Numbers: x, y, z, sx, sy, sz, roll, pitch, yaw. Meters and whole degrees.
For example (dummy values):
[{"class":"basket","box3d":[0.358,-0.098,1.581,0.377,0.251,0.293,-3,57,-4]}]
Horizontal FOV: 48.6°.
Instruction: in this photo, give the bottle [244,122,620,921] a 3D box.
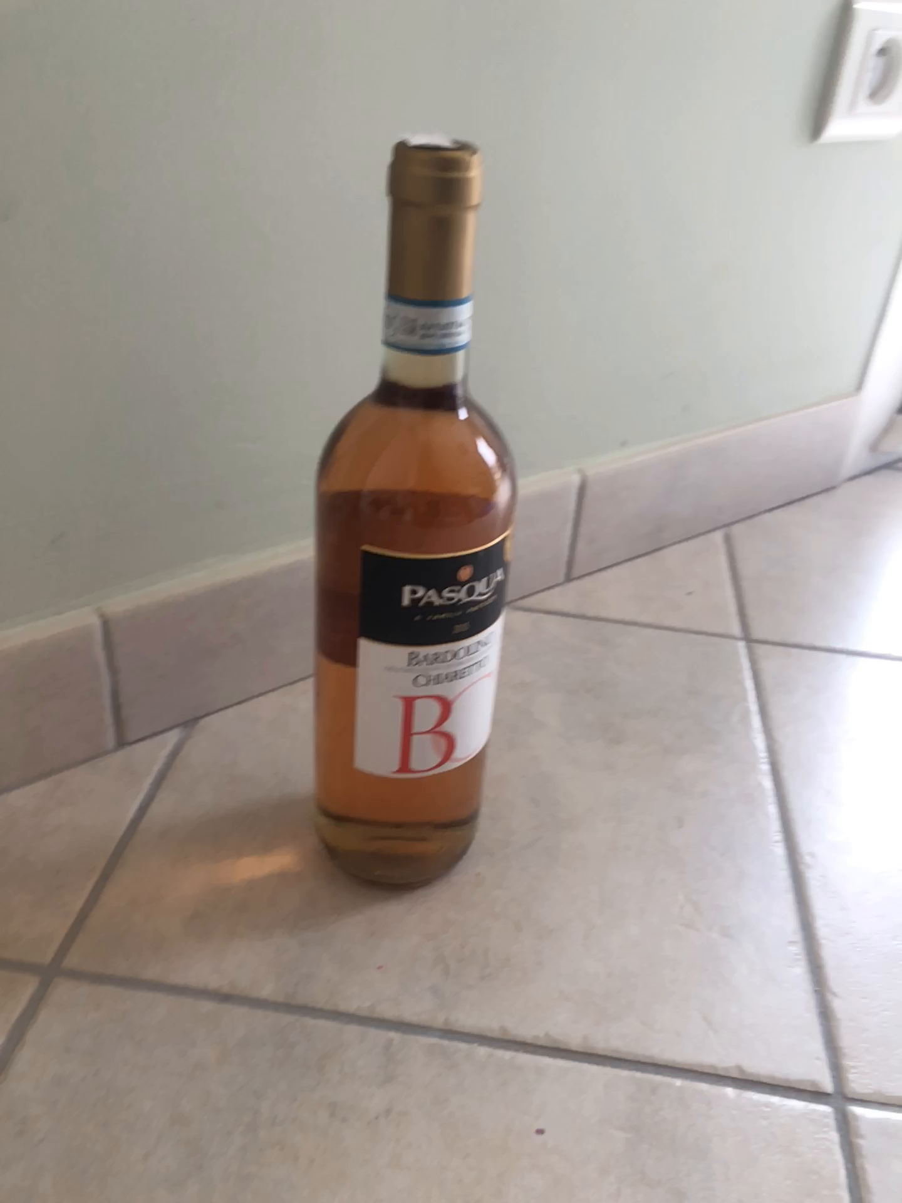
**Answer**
[{"class":"bottle","box3d":[-0.018,-0.019,0.360,0.080,0.268,0.080,4,32,-2]}]
